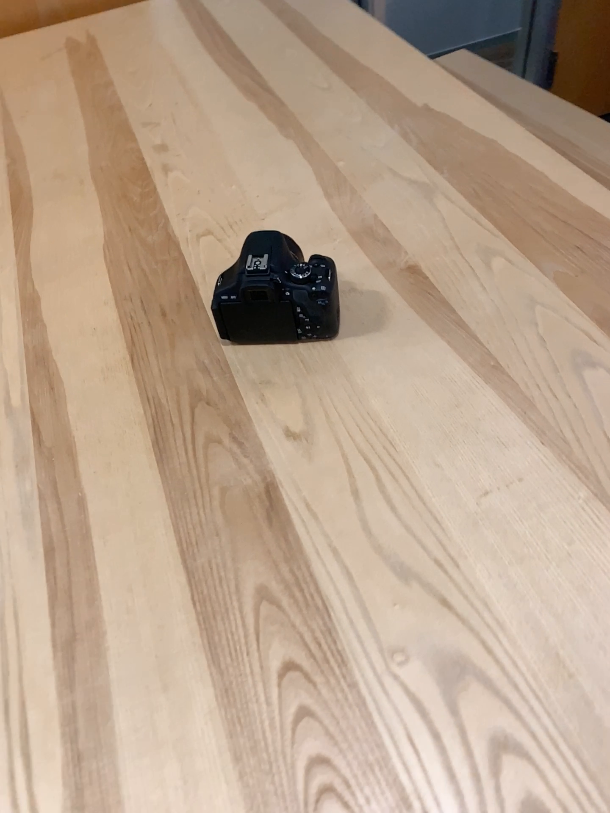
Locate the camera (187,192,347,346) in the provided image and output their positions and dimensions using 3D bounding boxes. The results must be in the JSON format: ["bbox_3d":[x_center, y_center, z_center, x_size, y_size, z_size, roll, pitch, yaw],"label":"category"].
[{"bbox_3d":[-0.032,-0.145,0.663,0.145,0.100,0.120,-2,50,7],"label":"camera"}]
